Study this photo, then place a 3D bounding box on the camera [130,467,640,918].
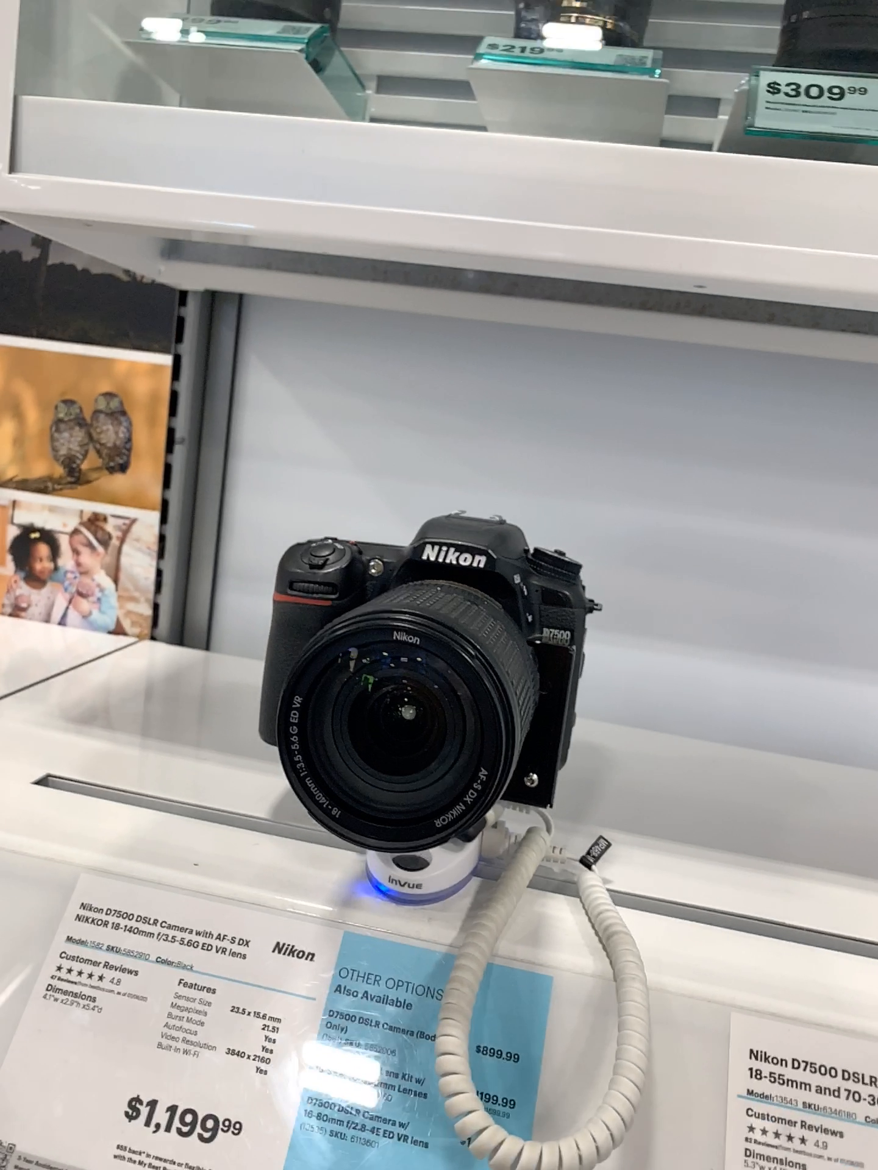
[{"bbox_3d":[-0.008,0.024,0.337,0.130,0.107,0.172,8,4,6],"label":"camera"}]
